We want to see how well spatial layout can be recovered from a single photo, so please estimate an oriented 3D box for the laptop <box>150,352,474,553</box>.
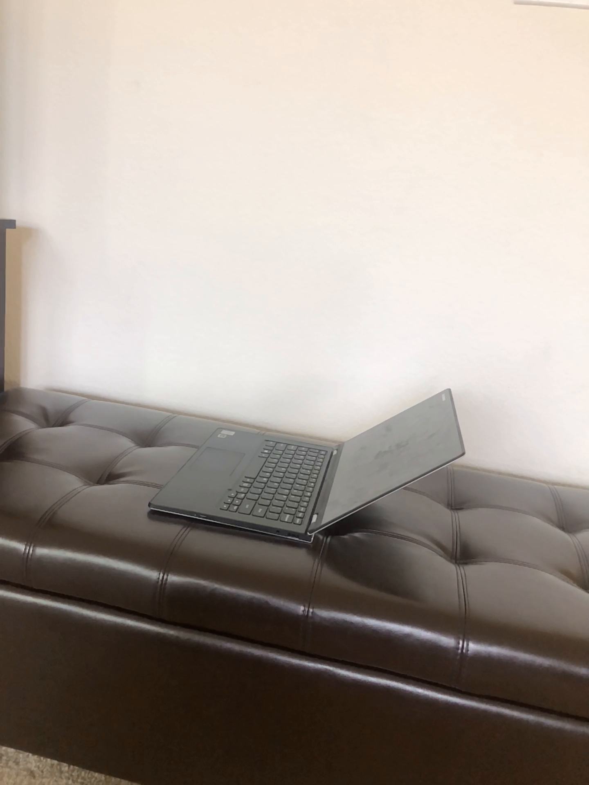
[{"bbox_3d":[0.031,0.052,0.781,0.317,0.115,0.262,8,16,8],"label":"laptop"}]
